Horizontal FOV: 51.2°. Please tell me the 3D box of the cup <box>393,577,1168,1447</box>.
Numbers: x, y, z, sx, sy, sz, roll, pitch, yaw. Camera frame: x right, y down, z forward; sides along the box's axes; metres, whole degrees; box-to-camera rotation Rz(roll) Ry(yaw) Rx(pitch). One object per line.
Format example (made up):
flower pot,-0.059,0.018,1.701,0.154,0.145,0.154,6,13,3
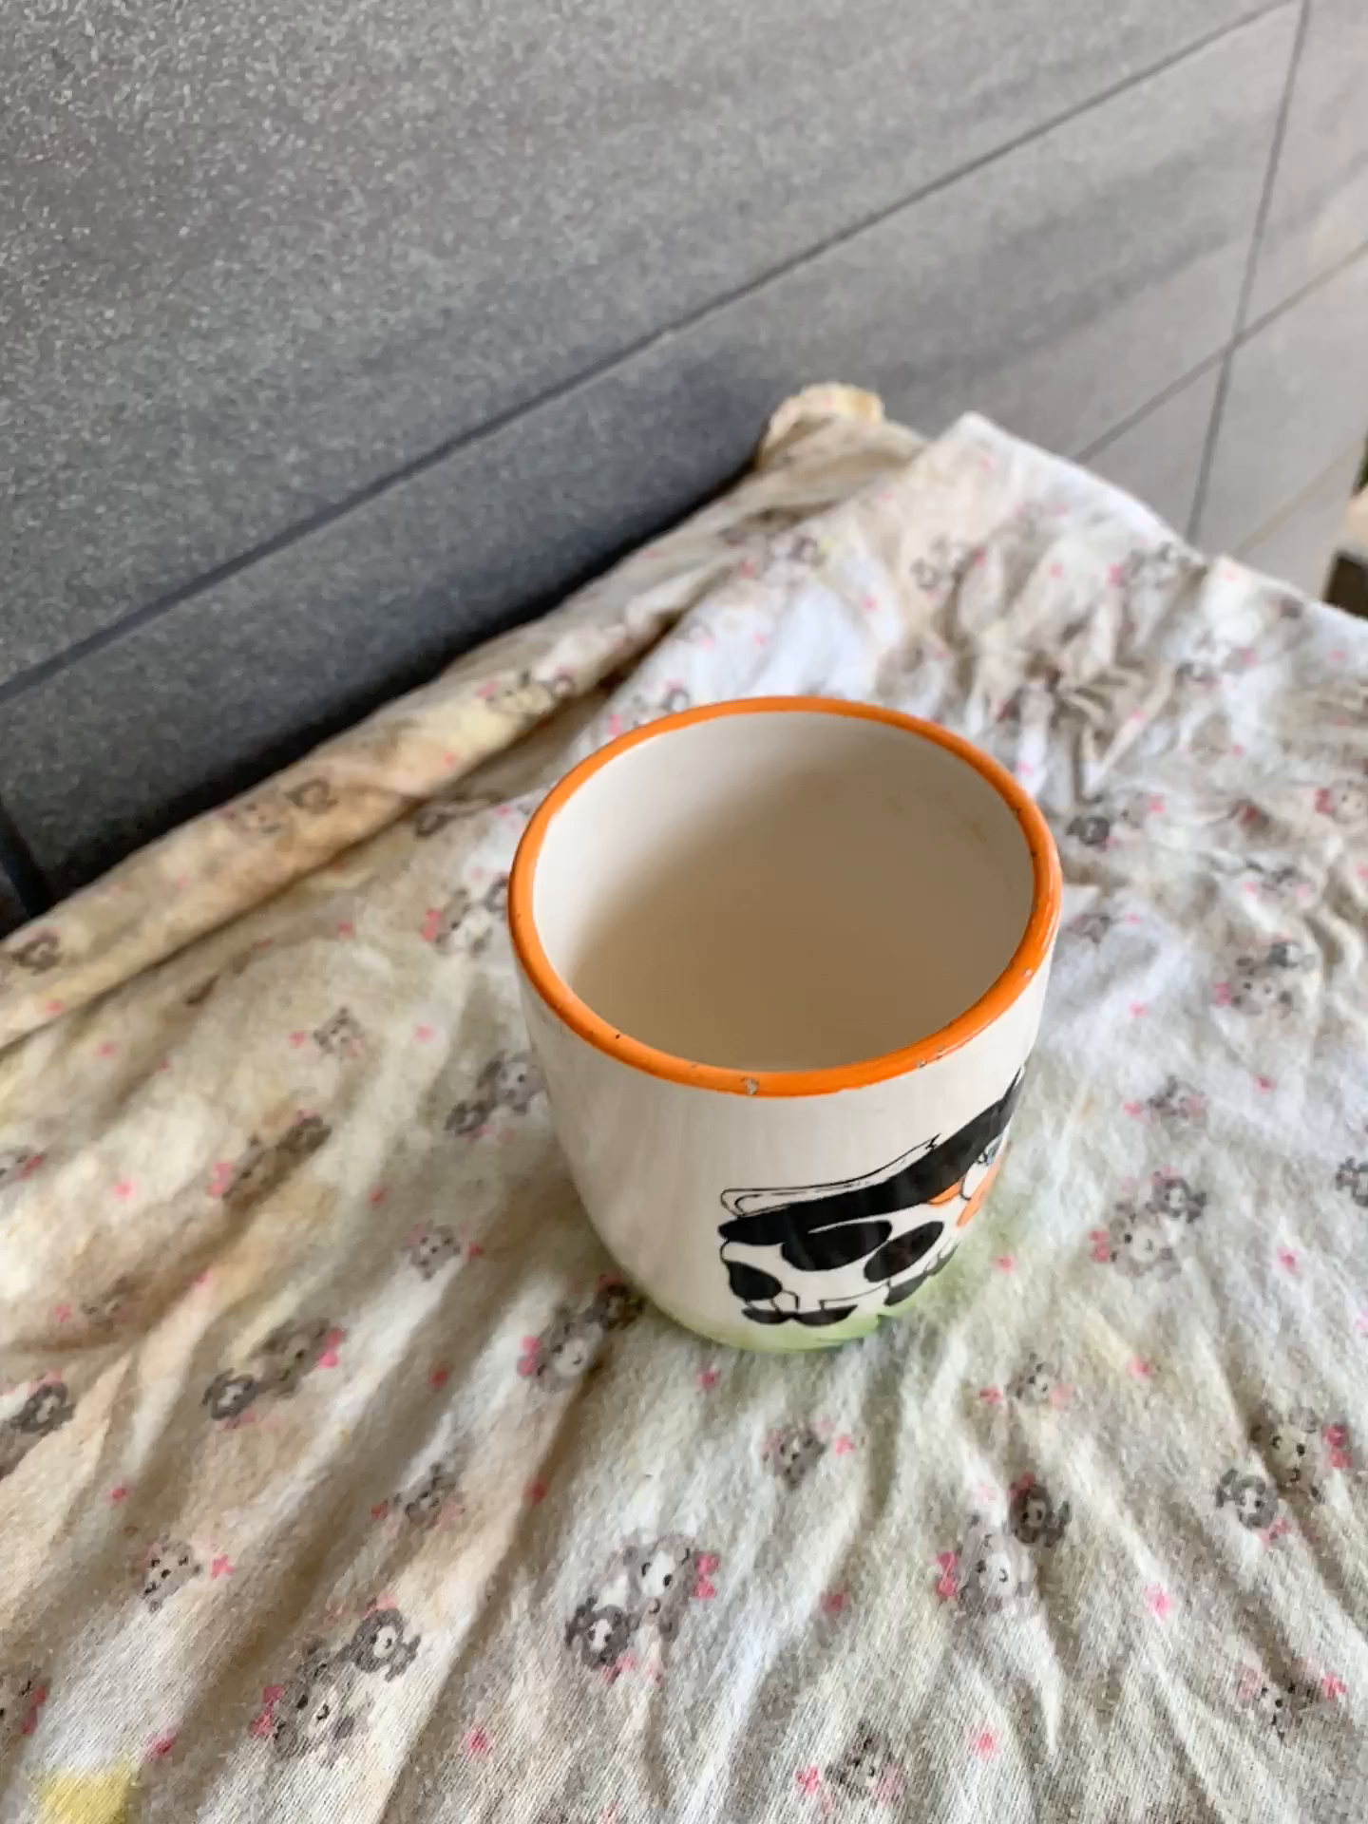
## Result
cup,0.012,0.015,0.230,0.080,0.090,0.080,-2,47,3
